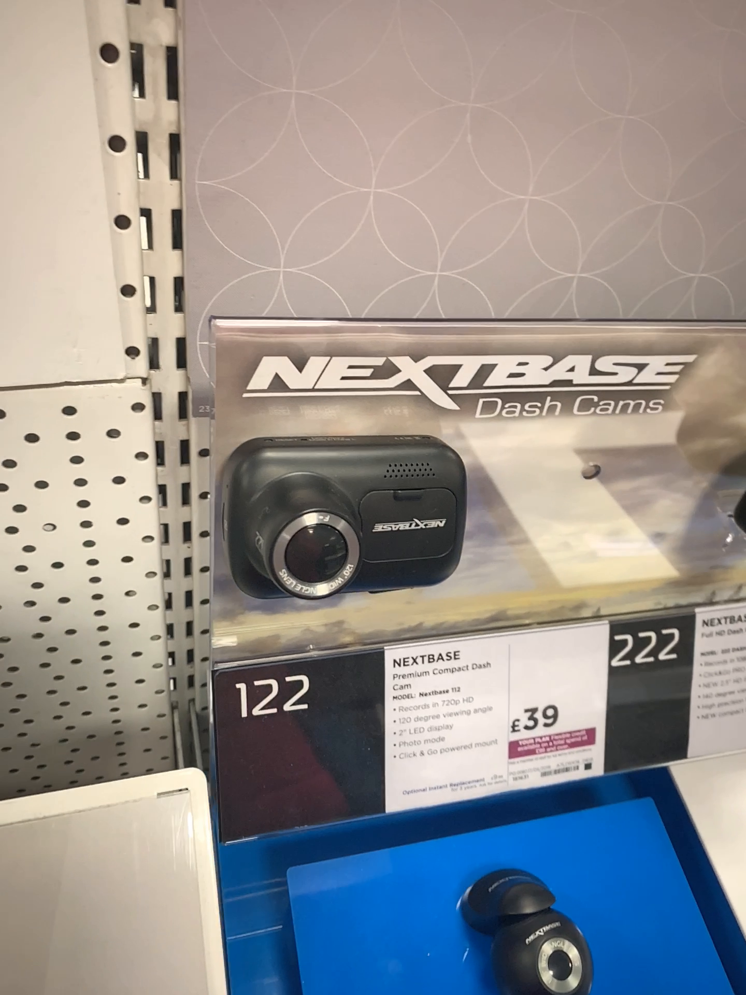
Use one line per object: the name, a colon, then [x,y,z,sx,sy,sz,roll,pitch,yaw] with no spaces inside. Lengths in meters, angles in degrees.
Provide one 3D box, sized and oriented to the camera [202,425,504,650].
camera: [-0.011,0.008,0.238,0.080,0.050,0.060,-1,15,-14]
